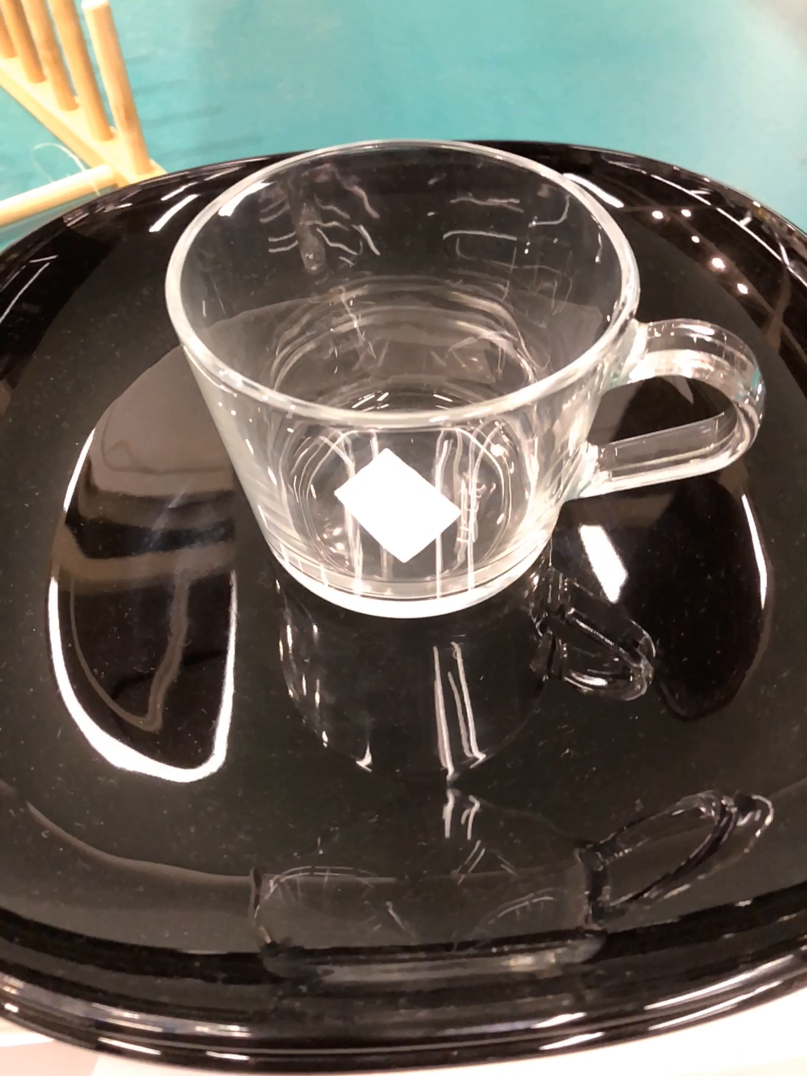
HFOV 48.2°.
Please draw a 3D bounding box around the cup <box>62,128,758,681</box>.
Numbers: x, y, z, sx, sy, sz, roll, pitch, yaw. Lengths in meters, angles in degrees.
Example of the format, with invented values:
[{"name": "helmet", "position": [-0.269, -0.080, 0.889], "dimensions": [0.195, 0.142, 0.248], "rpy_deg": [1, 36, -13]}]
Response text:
[{"name": "cup", "position": [0.009, -0.042, 0.248], "dimensions": [0.140, 0.080, 0.120], "rpy_deg": [6, 50, 7]}]
